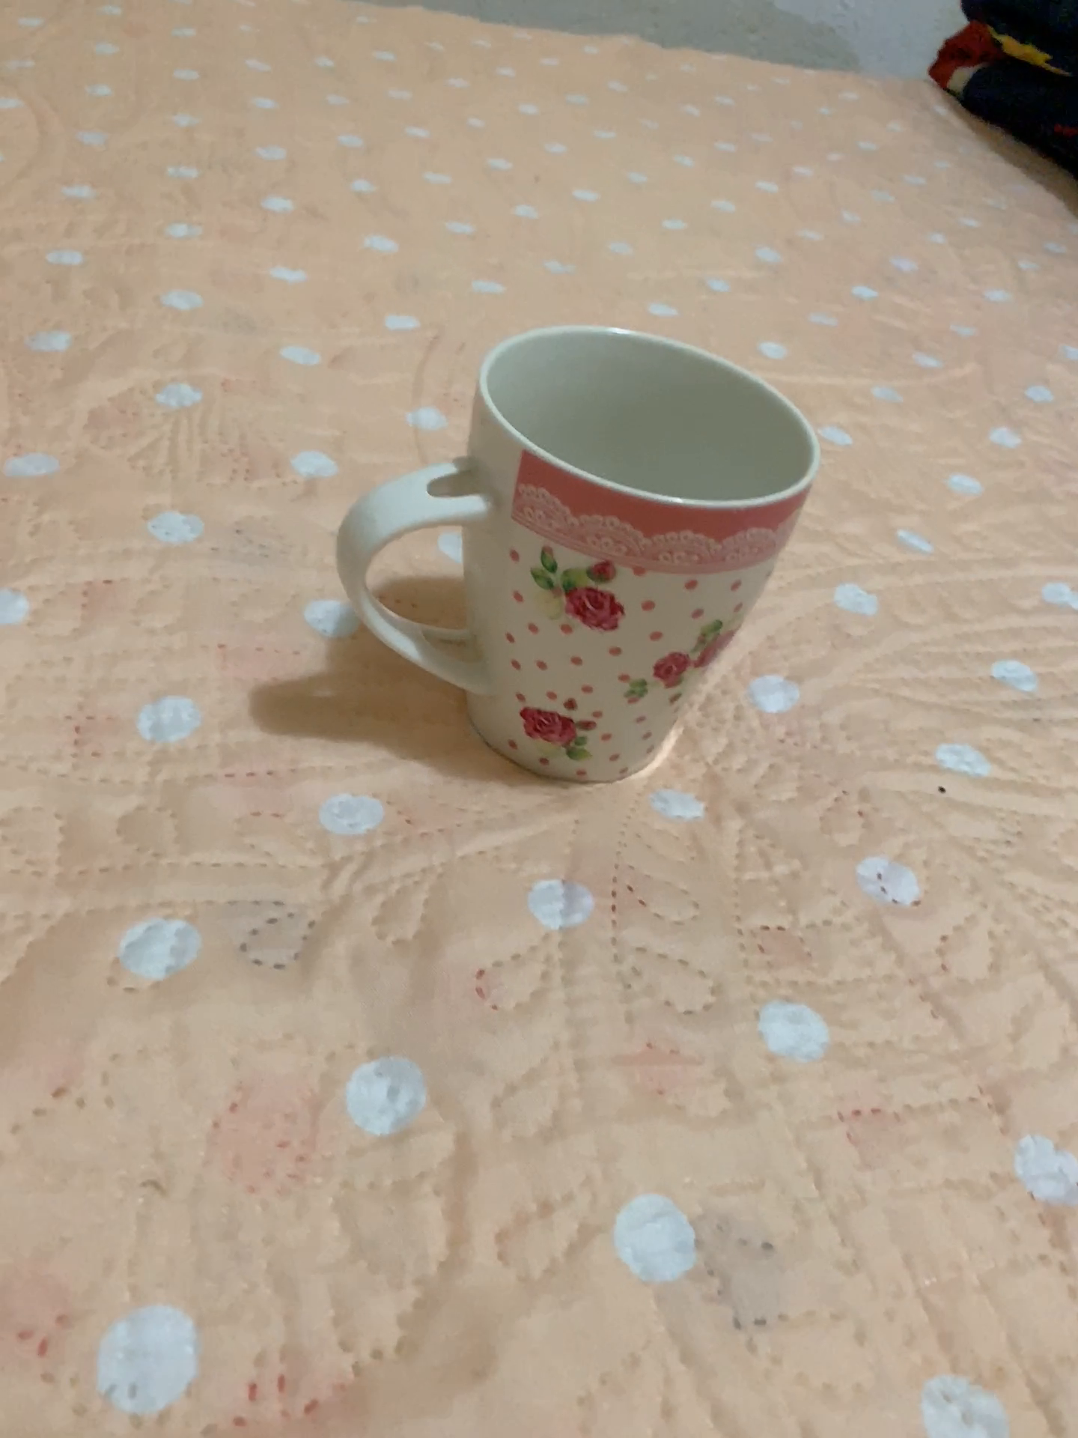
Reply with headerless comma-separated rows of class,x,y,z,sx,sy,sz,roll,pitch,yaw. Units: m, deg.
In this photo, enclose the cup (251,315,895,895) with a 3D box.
cup,-0.001,-0.035,0.287,0.120,0.099,0.090,-11,47,-26
